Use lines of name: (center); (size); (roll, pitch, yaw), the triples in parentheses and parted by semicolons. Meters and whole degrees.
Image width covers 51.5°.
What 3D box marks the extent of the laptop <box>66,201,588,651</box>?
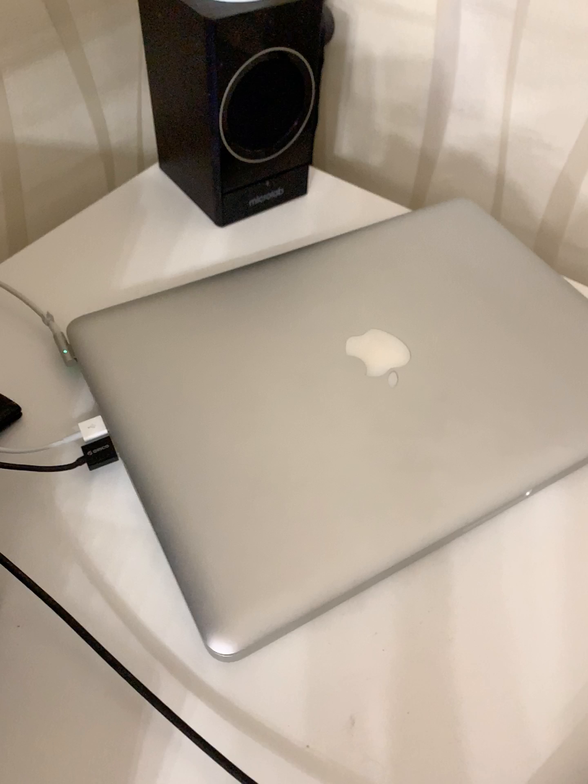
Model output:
laptop: (0.047, -0.015, 0.371); (0.305, 0.011, 0.208); (-22, 58, -20)
